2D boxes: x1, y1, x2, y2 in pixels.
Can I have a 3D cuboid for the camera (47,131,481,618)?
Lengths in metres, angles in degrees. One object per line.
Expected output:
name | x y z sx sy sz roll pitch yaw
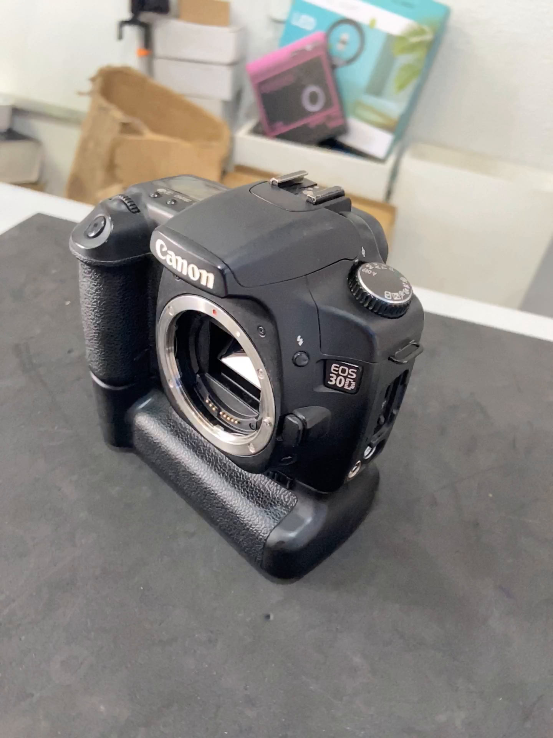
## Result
camera | -0.016 -0.006 0.248 0.140 0.139 0.080 34 45 31
